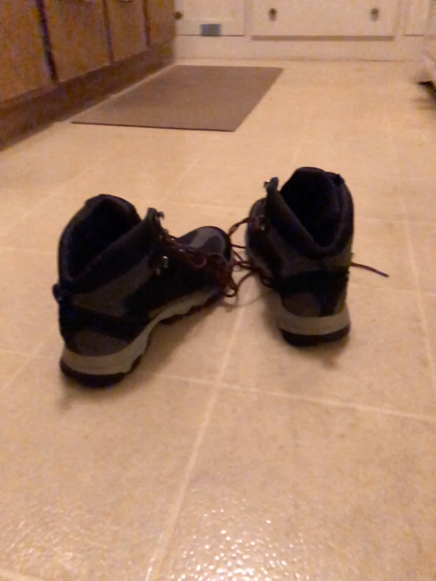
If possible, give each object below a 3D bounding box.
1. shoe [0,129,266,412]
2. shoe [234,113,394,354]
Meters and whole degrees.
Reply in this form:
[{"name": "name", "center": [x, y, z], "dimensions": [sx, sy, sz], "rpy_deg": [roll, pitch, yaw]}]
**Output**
[{"name": "shoe", "center": [-0.079, -0.048, 0.571], "dimensions": [0.126, 0.195, 0.310], "rpy_deg": [20, 39, 30]}, {"name": "shoe", "center": [0.099, -0.094, 0.632], "dimensions": [0.116, 0.195, 0.301], "rpy_deg": [-4, 34, -4]}]
